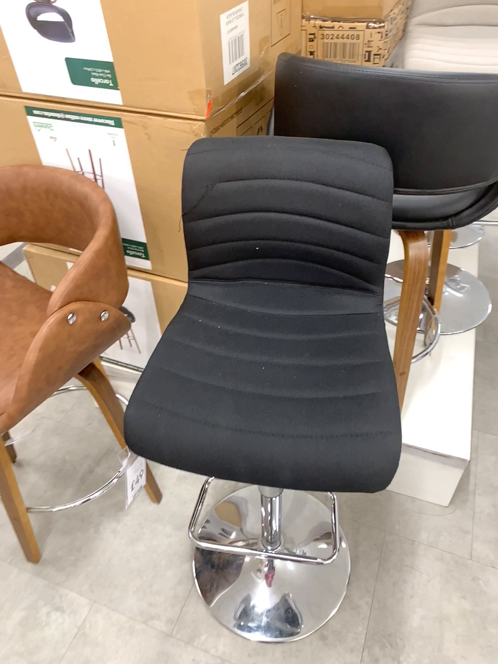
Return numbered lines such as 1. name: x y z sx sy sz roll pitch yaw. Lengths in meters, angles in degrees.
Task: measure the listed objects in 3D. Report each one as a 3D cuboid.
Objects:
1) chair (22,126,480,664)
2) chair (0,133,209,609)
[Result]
1. chair: 0.041 0.192 0.998 0.454 0.994 0.472 5 42 8
2. chair: -0.496 0.101 1.204 0.525 0.875 0.521 22 47 25
